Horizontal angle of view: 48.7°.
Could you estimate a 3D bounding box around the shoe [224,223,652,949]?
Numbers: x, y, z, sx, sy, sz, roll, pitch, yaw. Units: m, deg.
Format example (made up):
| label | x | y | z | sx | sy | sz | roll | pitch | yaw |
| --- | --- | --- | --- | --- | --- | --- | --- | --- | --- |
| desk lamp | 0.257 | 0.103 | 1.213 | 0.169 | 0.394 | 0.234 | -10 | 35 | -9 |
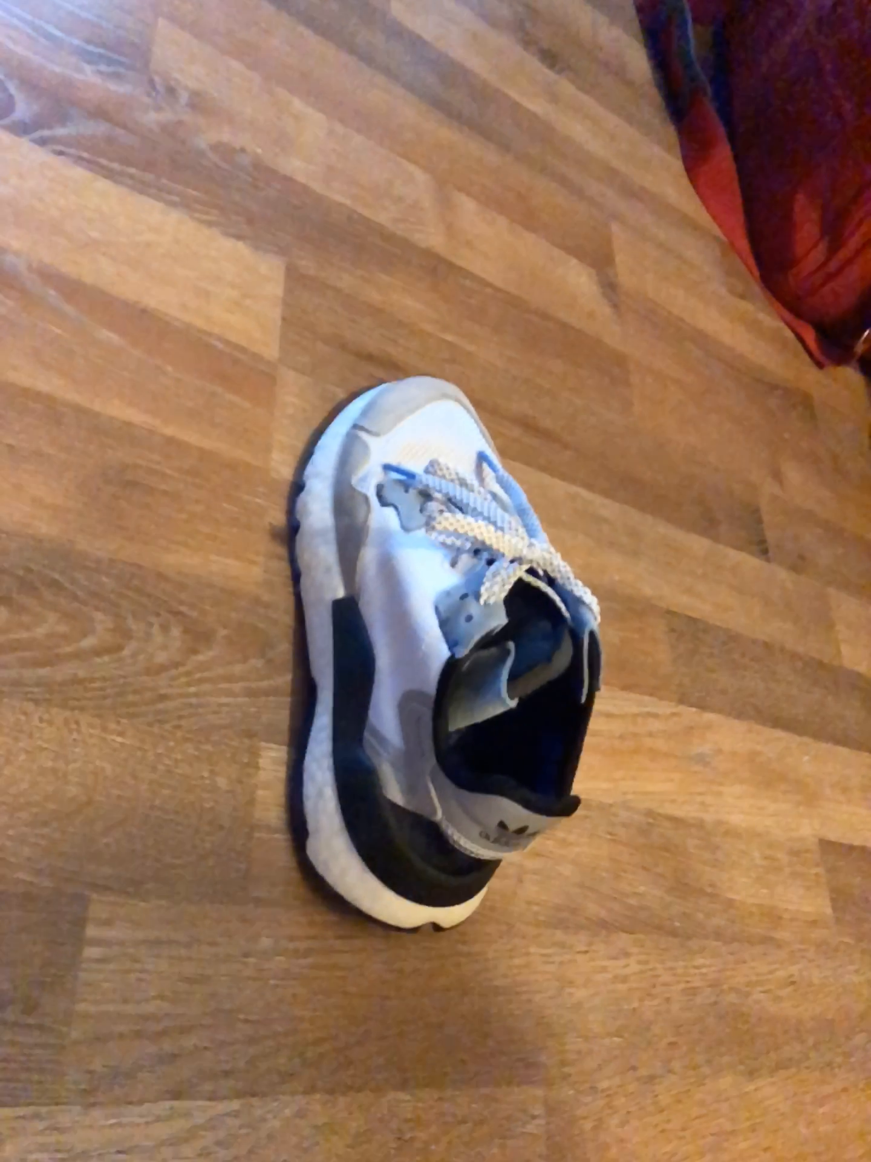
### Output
| label | x | y | z | sx | sy | sz | roll | pitch | yaw |
| --- | --- | --- | --- | --- | --- | --- | --- | --- | --- |
| shoe | -0.004 | 0.006 | 0.411 | 0.114 | 0.109 | 0.271 | 17 | 58 | -33 |
